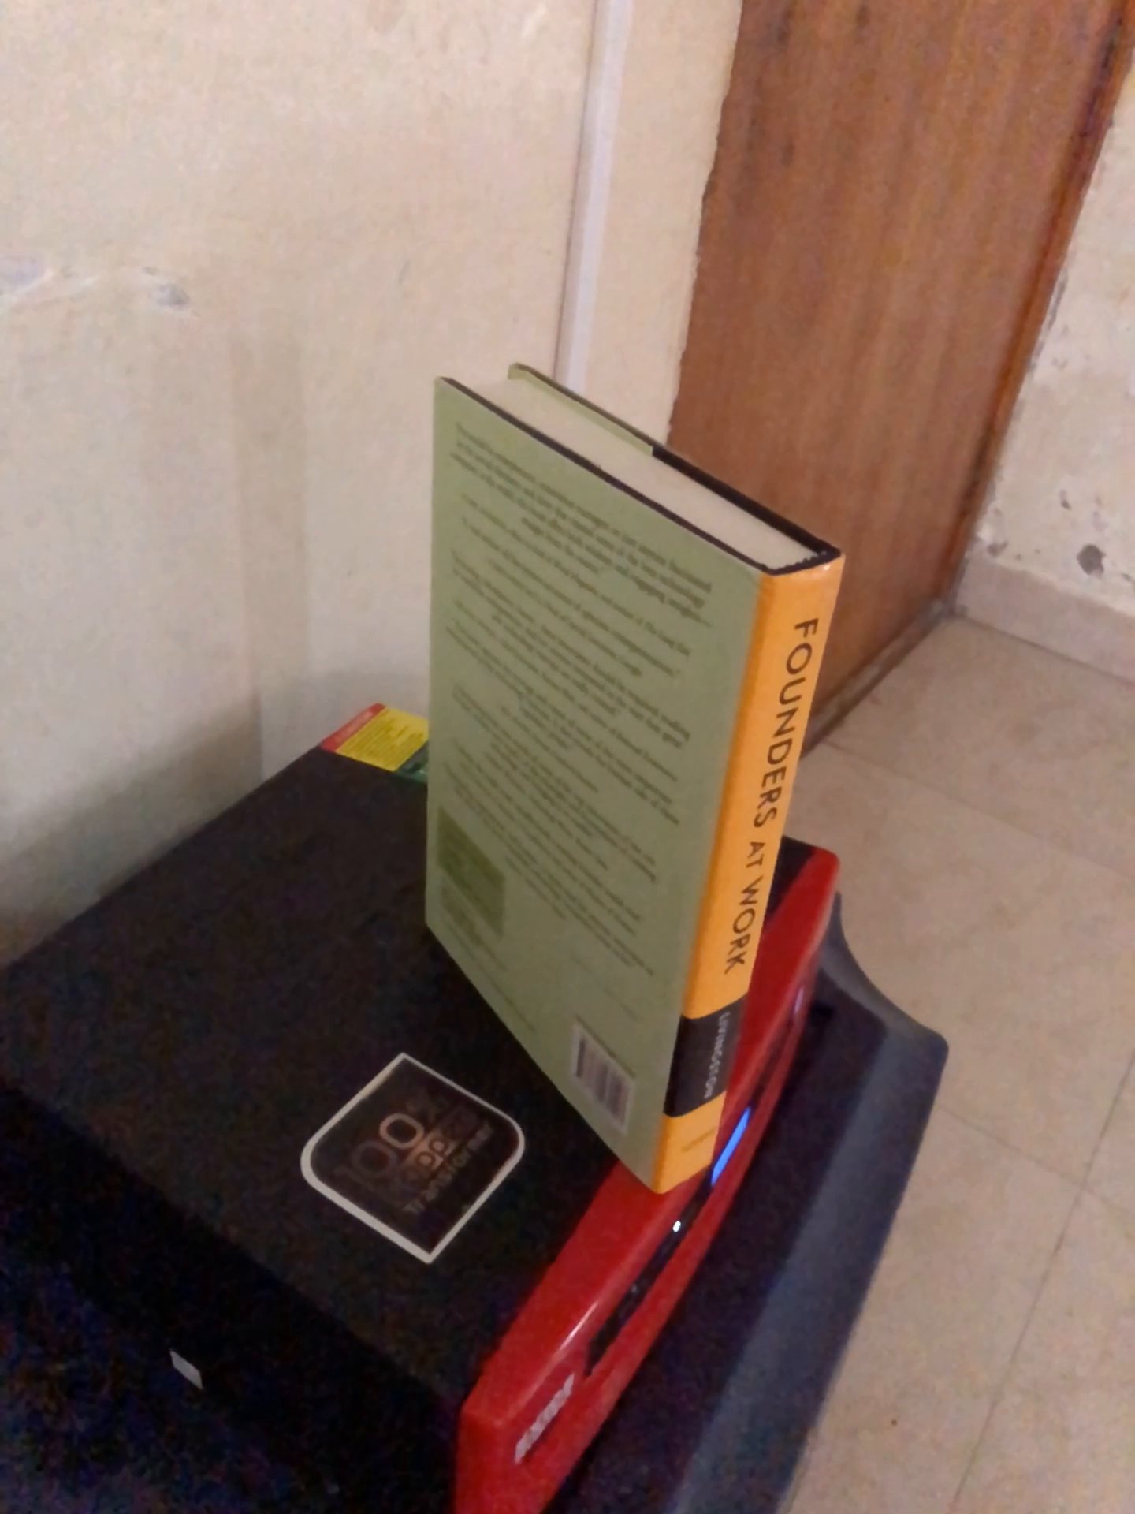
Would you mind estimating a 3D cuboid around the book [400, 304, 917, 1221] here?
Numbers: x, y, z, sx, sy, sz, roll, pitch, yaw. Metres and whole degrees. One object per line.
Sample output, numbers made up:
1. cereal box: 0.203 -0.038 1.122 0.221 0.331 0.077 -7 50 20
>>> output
1. book: 0.006 0.003 0.423 0.040 0.249 0.180 -16 42 -29
